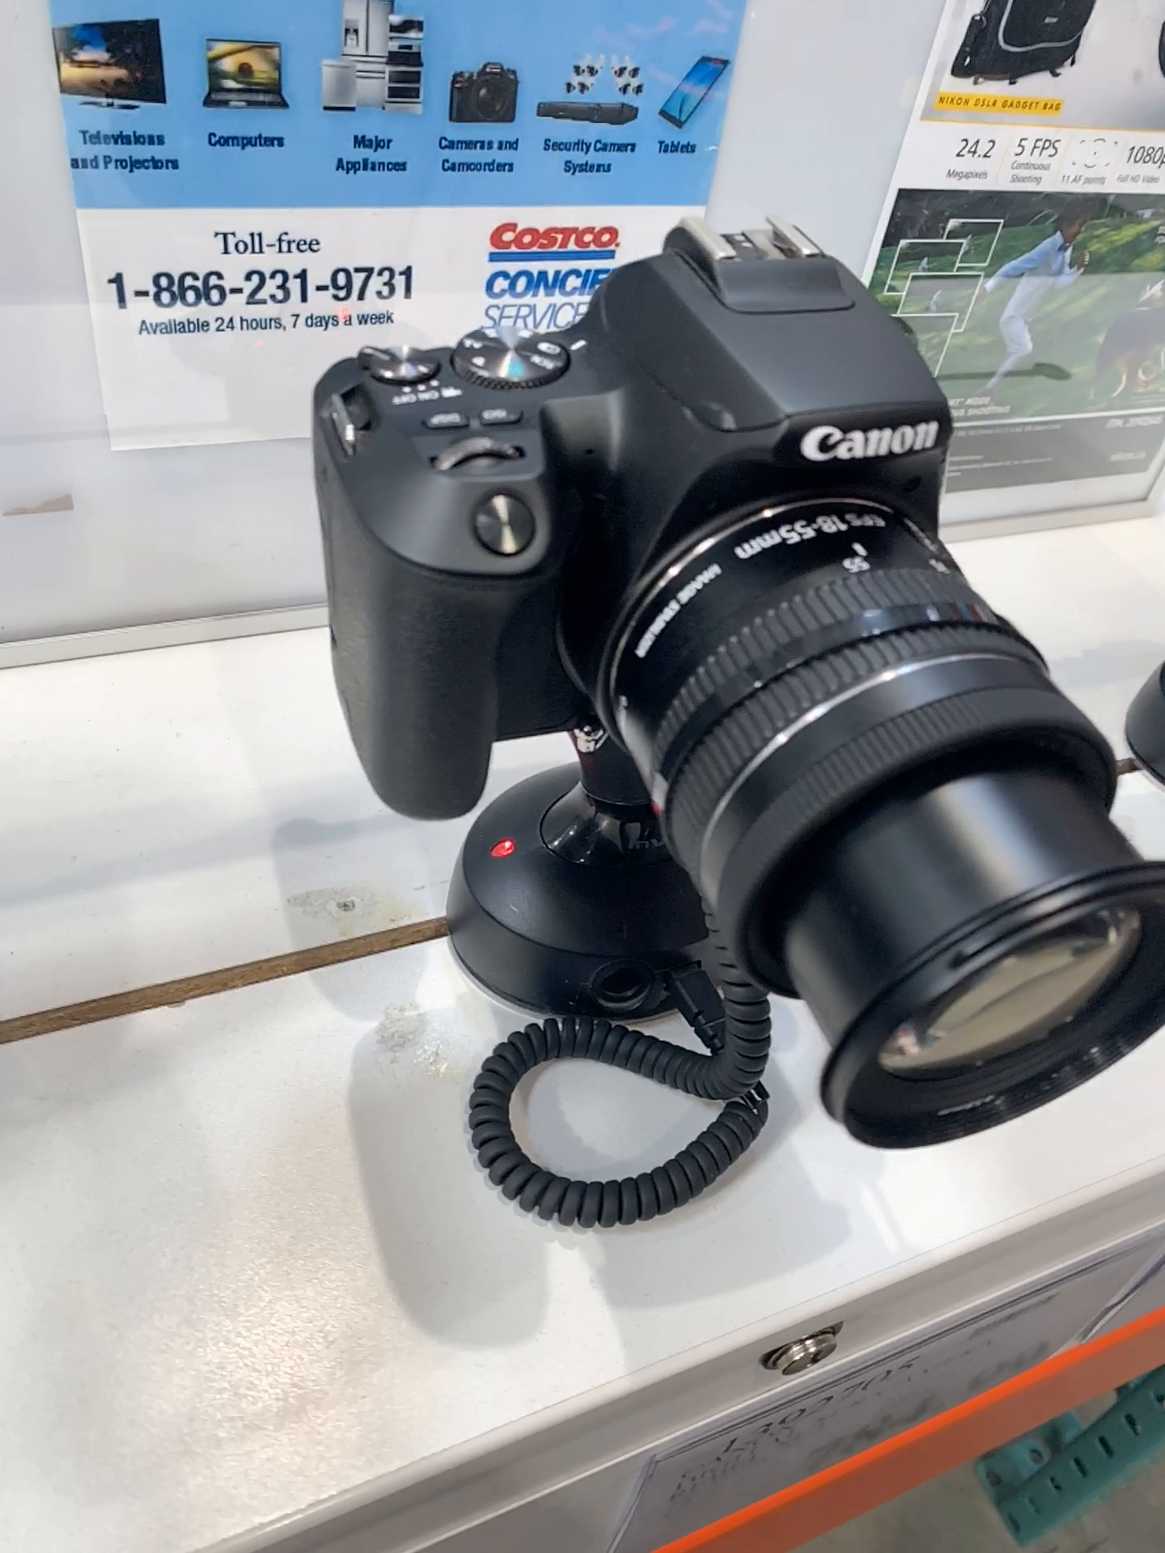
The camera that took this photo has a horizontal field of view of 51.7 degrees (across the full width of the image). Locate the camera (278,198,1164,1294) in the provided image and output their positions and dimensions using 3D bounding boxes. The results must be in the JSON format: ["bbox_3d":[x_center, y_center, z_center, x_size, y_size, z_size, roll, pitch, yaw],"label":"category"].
[{"bbox_3d":[0.031,-0.024,0.188,0.119,0.079,0.141,-12,47,-23],"label":"camera"}]
